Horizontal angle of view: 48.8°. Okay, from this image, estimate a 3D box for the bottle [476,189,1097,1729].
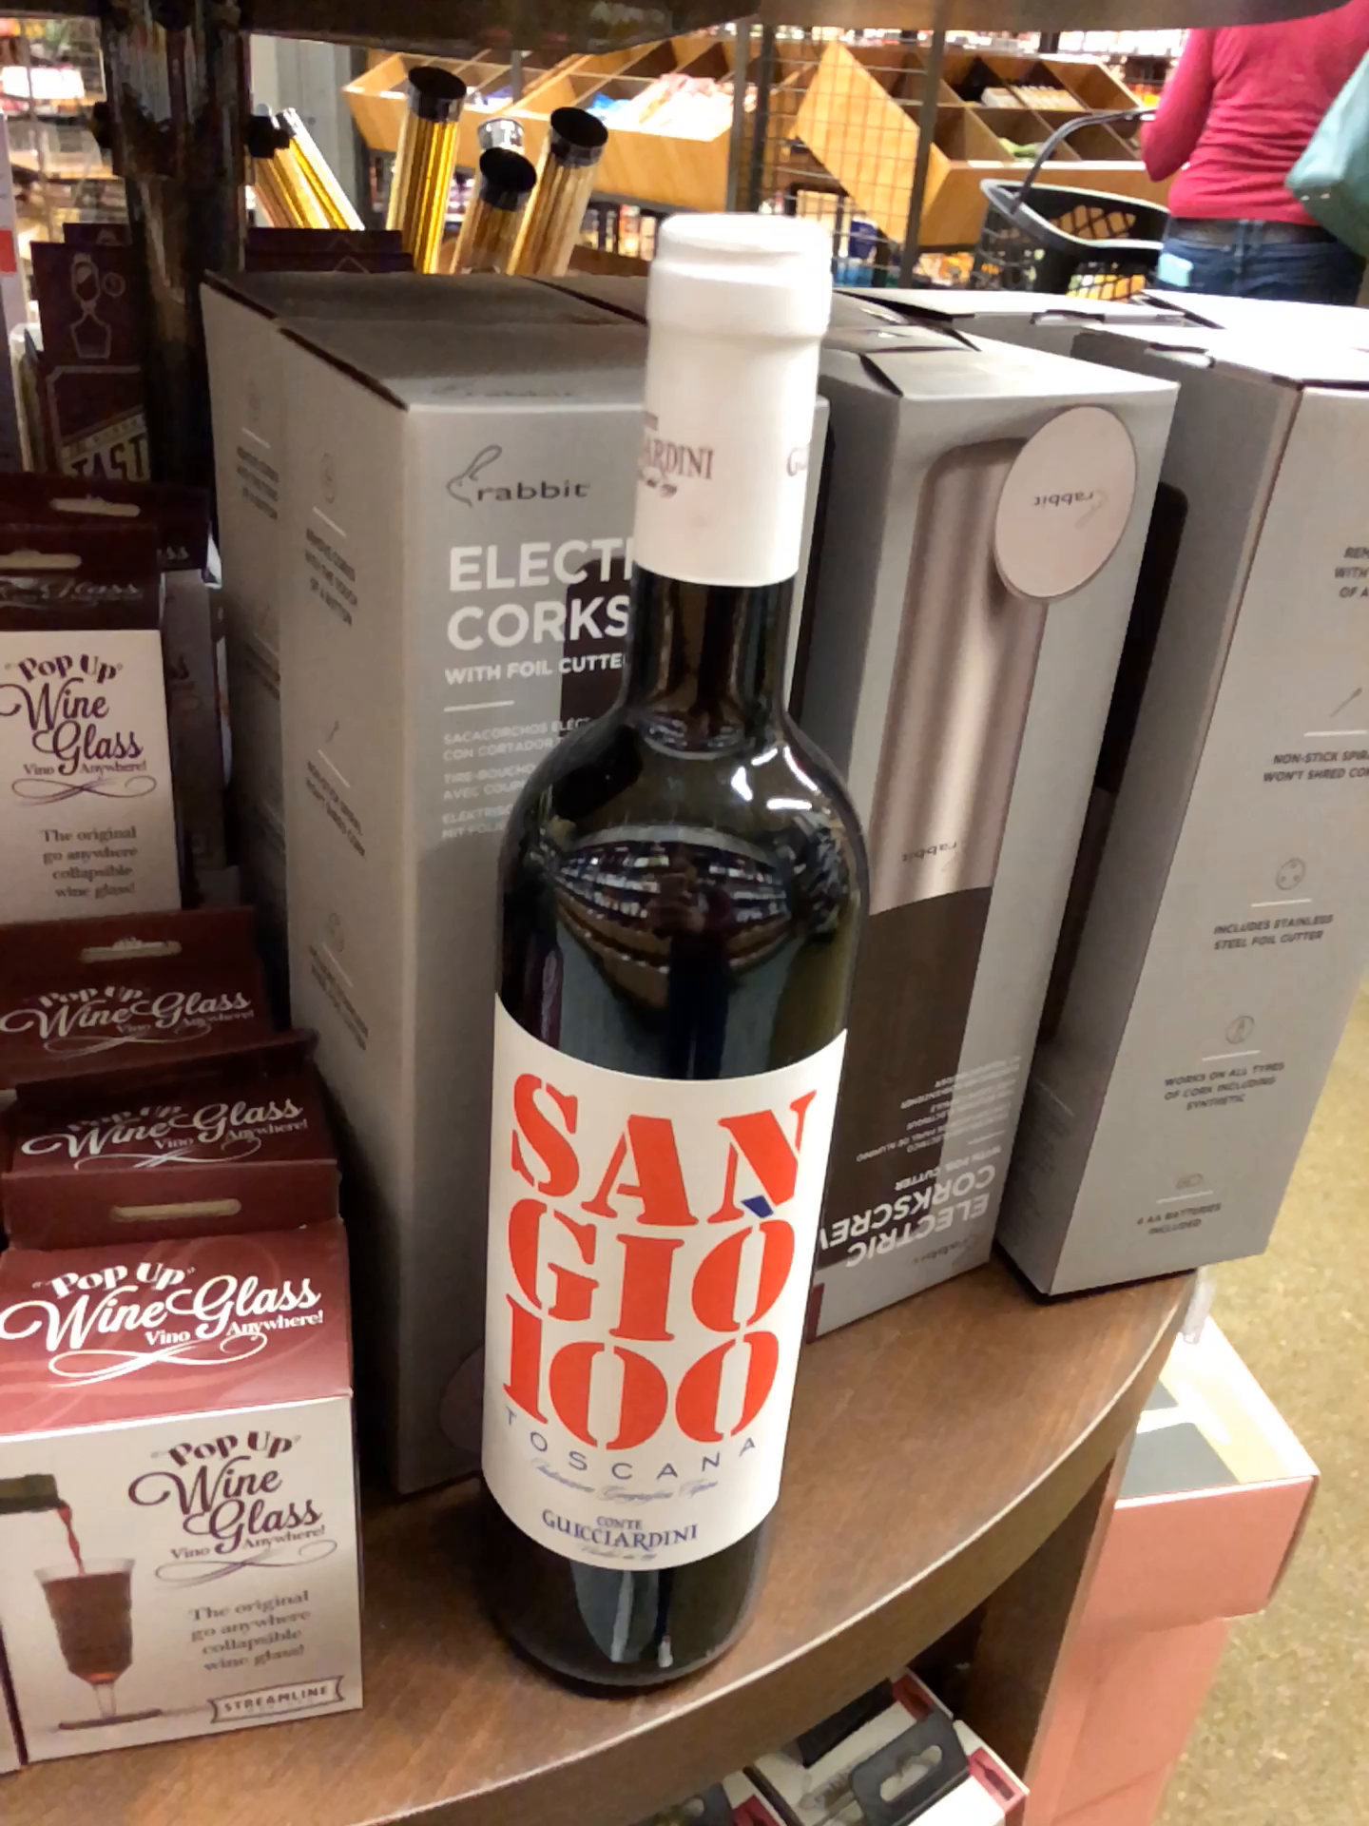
[{"bbox_3d":[0.000,0.029,0.307,0.083,0.309,0.080,3,29,-2],"label":"bottle"}]
